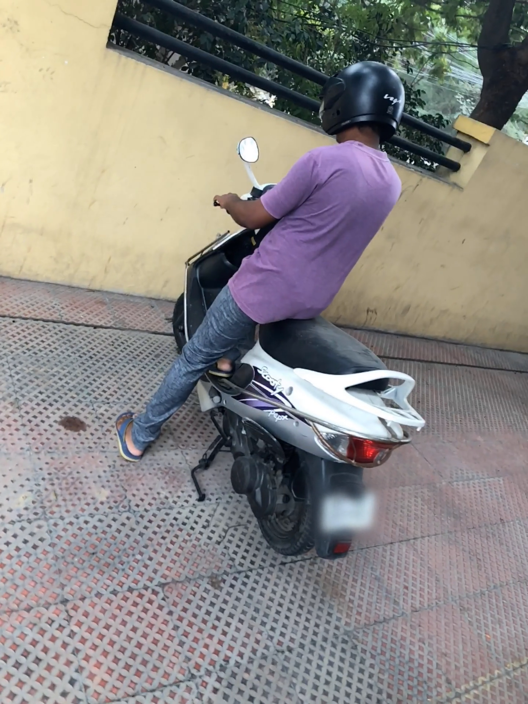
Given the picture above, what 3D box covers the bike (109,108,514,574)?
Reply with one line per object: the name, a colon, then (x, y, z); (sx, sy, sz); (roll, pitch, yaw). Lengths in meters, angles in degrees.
bike: (0.006, -0.114, 2.312); (0.644, 0.949, 1.506); (7, 35, -35)
